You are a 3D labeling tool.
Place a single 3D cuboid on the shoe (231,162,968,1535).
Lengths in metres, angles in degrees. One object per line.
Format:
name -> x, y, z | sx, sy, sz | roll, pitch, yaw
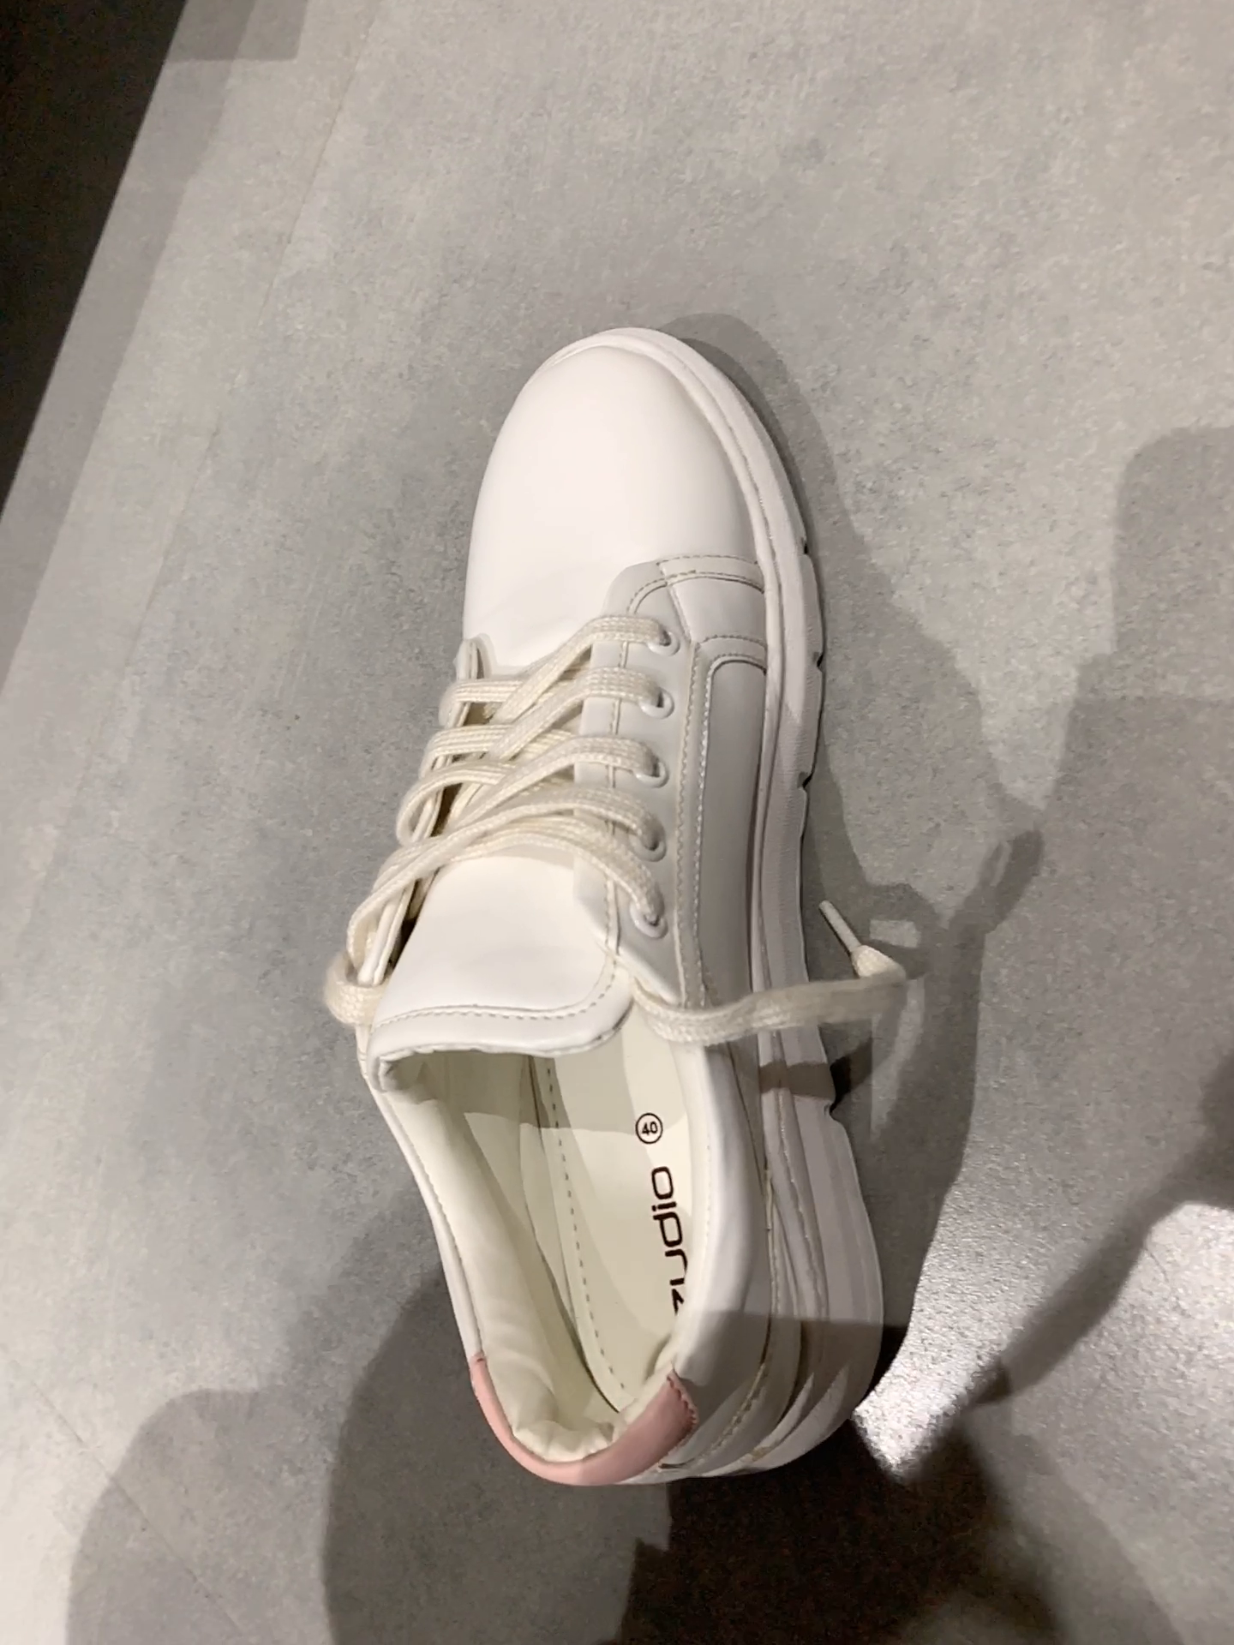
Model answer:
shoe -> -0.007, 0.008, 0.294 | 0.110, 0.100, 0.250 | -13, 76, 29
